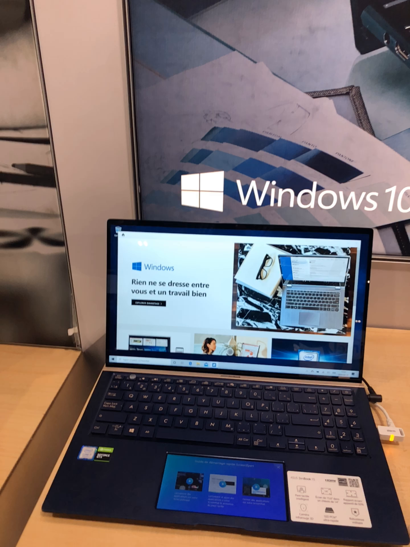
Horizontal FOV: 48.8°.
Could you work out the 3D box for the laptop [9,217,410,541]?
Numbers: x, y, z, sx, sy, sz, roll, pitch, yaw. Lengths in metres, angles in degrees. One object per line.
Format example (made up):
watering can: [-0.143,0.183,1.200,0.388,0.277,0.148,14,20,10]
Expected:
laptop: [0.027,0.084,0.497,0.338,0.183,0.274,3,28,4]
